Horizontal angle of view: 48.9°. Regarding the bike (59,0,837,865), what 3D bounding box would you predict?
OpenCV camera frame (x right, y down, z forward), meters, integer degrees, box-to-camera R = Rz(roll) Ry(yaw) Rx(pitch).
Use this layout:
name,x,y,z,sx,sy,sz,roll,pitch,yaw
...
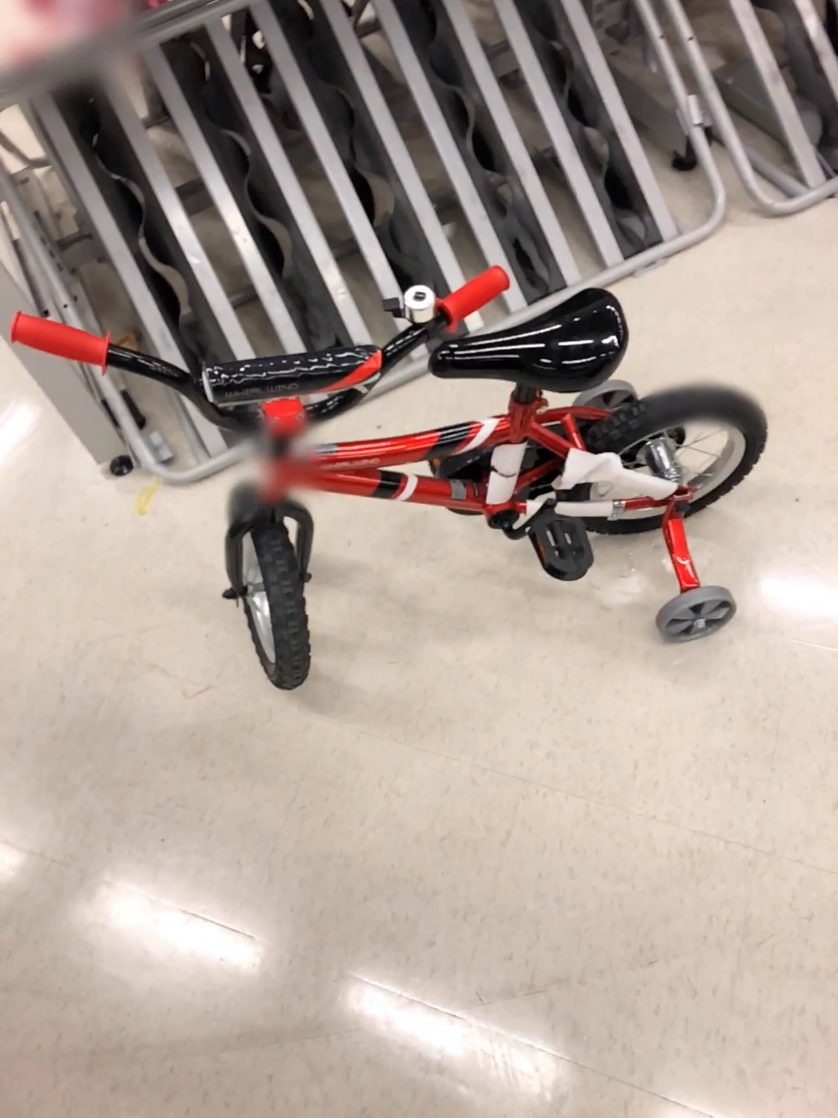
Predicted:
name,x,y,z,sx,sy,sz,roll,pitch,yaw
bike,0.113,-0.140,1.075,0.698,0.679,0.534,-24,57,-5
